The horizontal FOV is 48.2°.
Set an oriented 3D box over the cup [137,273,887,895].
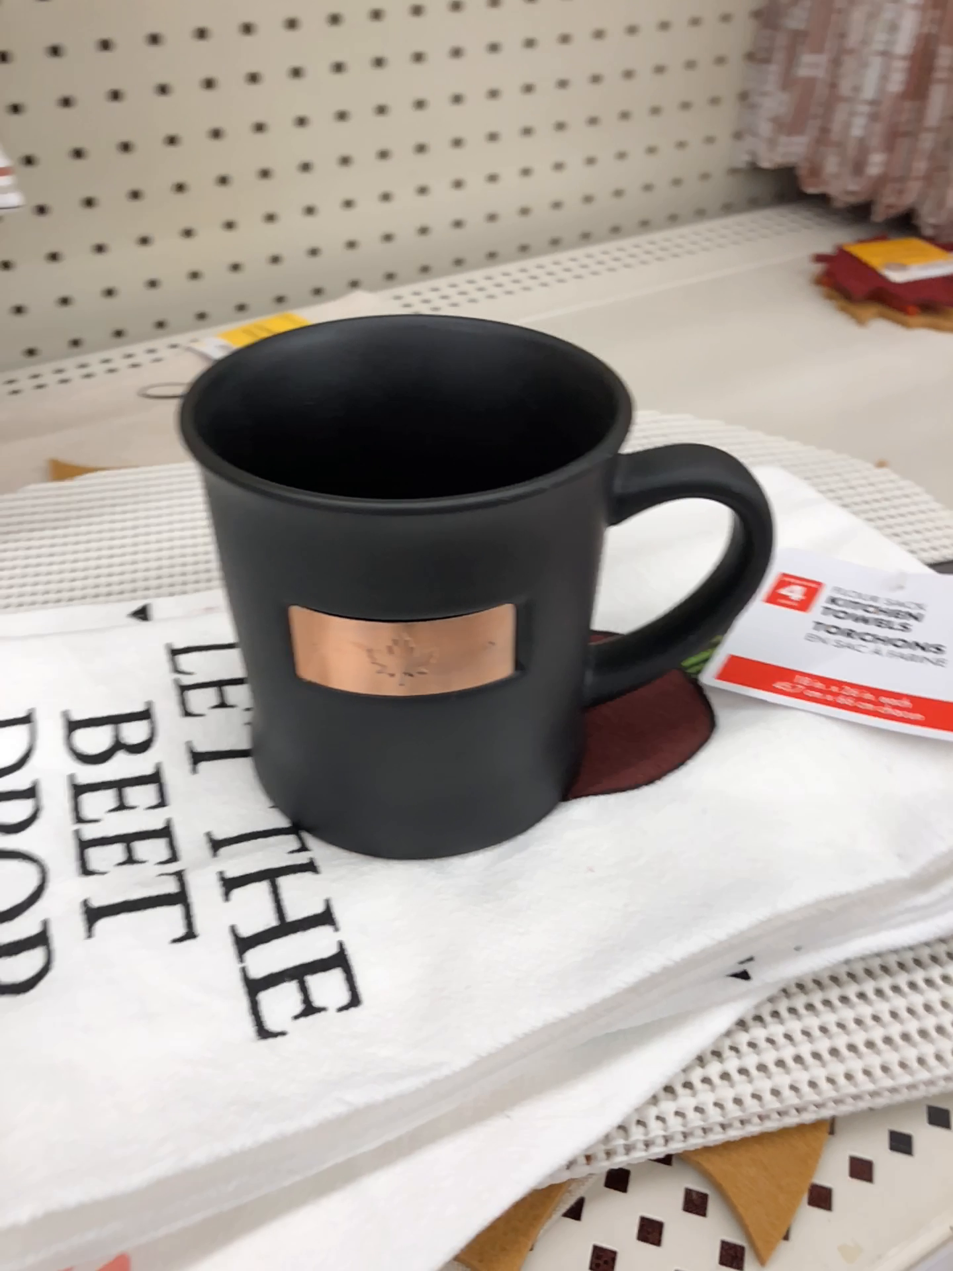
[{"bbox_3d":[0.003,-0.016,0.270,0.140,0.110,0.100,-4,40,-5],"label":"cup"}]
